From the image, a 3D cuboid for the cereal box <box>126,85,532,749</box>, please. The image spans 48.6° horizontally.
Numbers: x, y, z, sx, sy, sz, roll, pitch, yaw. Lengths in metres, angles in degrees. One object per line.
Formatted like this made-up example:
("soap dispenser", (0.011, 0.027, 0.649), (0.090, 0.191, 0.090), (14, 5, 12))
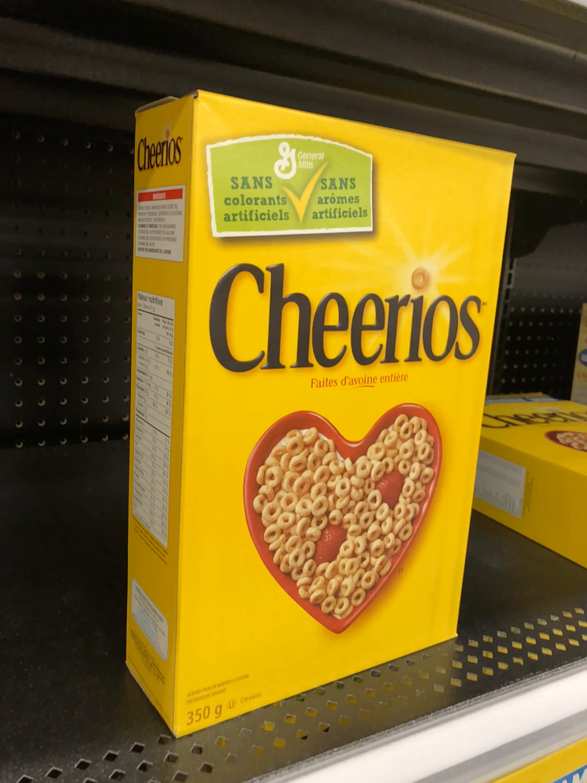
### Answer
("cereal box", (0.019, 0.012, 0.384), (0.210, 0.309, 0.080), (-3, 13, -33))
